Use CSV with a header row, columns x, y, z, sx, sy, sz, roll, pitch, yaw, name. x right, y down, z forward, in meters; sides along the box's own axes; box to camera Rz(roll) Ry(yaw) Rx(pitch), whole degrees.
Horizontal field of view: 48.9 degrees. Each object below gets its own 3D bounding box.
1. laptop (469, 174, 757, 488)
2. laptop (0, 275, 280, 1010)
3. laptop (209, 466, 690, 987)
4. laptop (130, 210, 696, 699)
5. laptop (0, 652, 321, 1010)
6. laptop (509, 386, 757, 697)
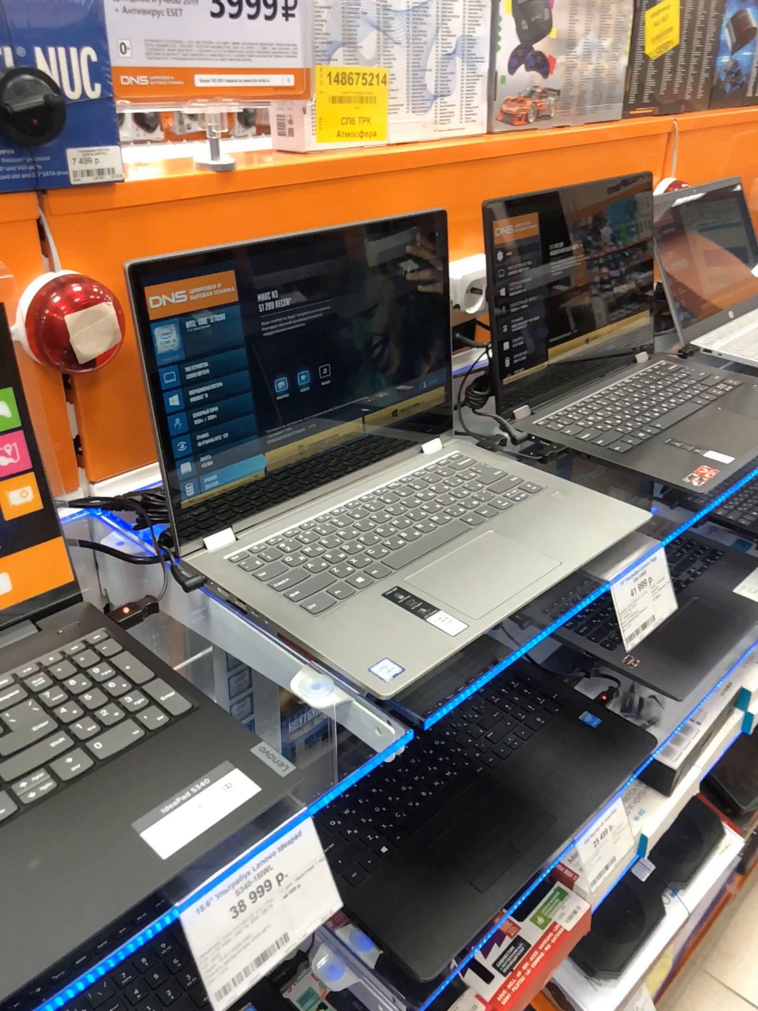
x,y,z,sx,sy,sz,roll,pitch,yaw,name
0.294,-0.199,0.851,0.290,0.209,0.248,-26,38,-38,laptop
-0.250,0.052,0.359,0.279,0.212,0.306,24,34,34,laptop
0.072,0.164,0.791,0.263,0.207,0.369,26,38,36,laptop
0.030,-0.074,0.620,0.316,0.212,0.238,-25,38,-38,laptop
-0.257,0.324,0.504,0.379,0.235,0.239,-26,39,-38,laptop
0.363,0.023,1.048,0.309,0.213,0.237,-26,38,-36,laptop
